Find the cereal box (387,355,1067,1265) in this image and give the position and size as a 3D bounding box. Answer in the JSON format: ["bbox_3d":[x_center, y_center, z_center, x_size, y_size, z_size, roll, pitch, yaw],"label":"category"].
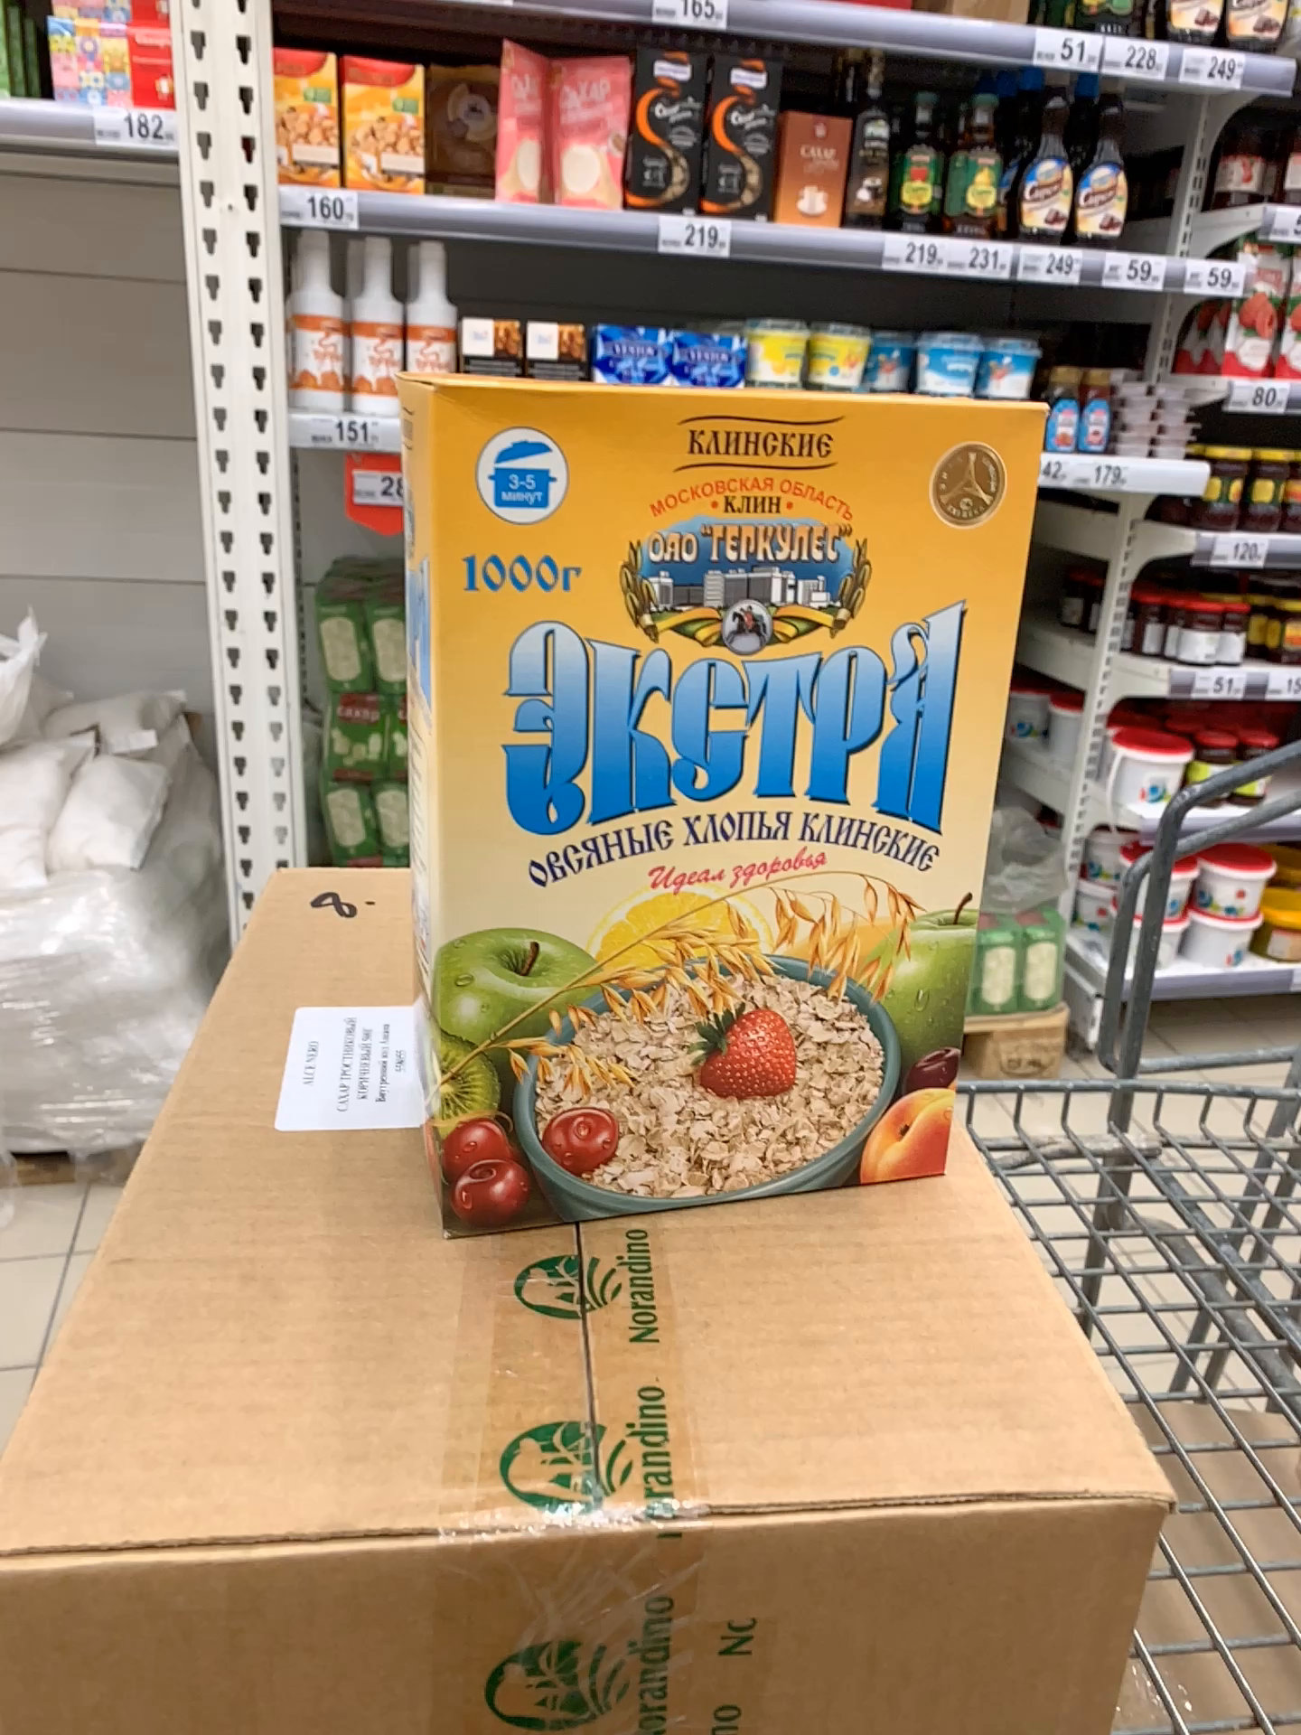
[{"bbox_3d":[0.008,-0.021,0.404,0.160,0.239,0.100,-3,22,-16],"label":"cereal box"}]
